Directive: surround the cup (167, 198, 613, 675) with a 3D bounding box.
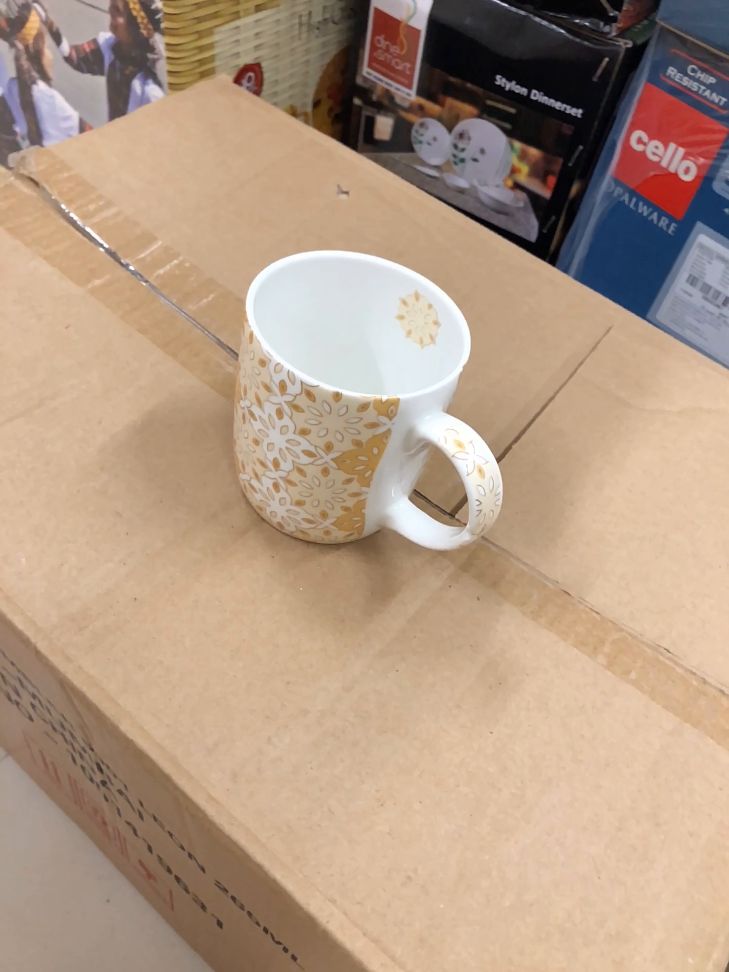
[{"bbox_3d":[-0.001,-0.020,0.285,0.080,0.089,0.120,-30,64,-33],"label":"cup"}]
